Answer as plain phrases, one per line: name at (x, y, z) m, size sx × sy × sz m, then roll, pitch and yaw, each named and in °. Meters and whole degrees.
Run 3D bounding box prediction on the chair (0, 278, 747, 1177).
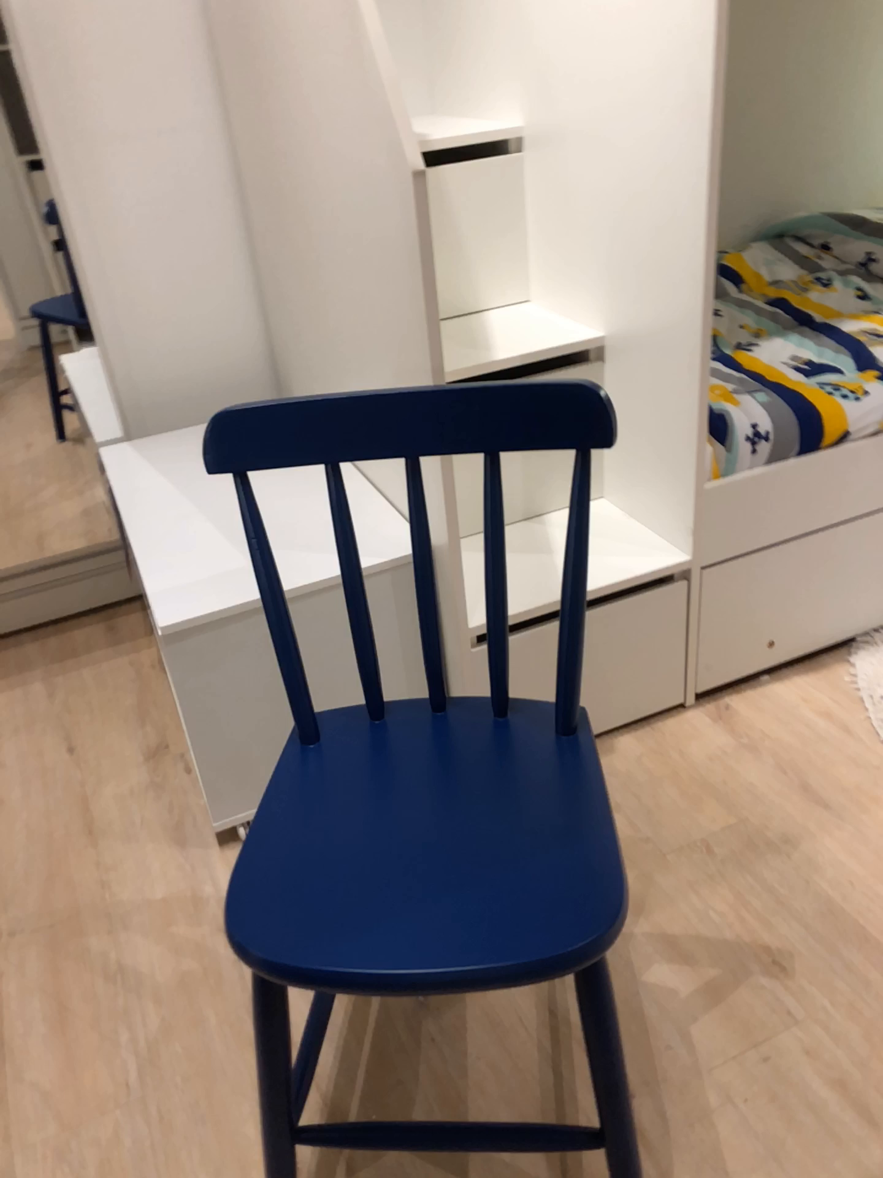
chair at (-0.012, 0.185, 0.937) m, size 0.460 × 0.804 × 0.484 m, roll -3°, pitch 30°, yaw 7°
